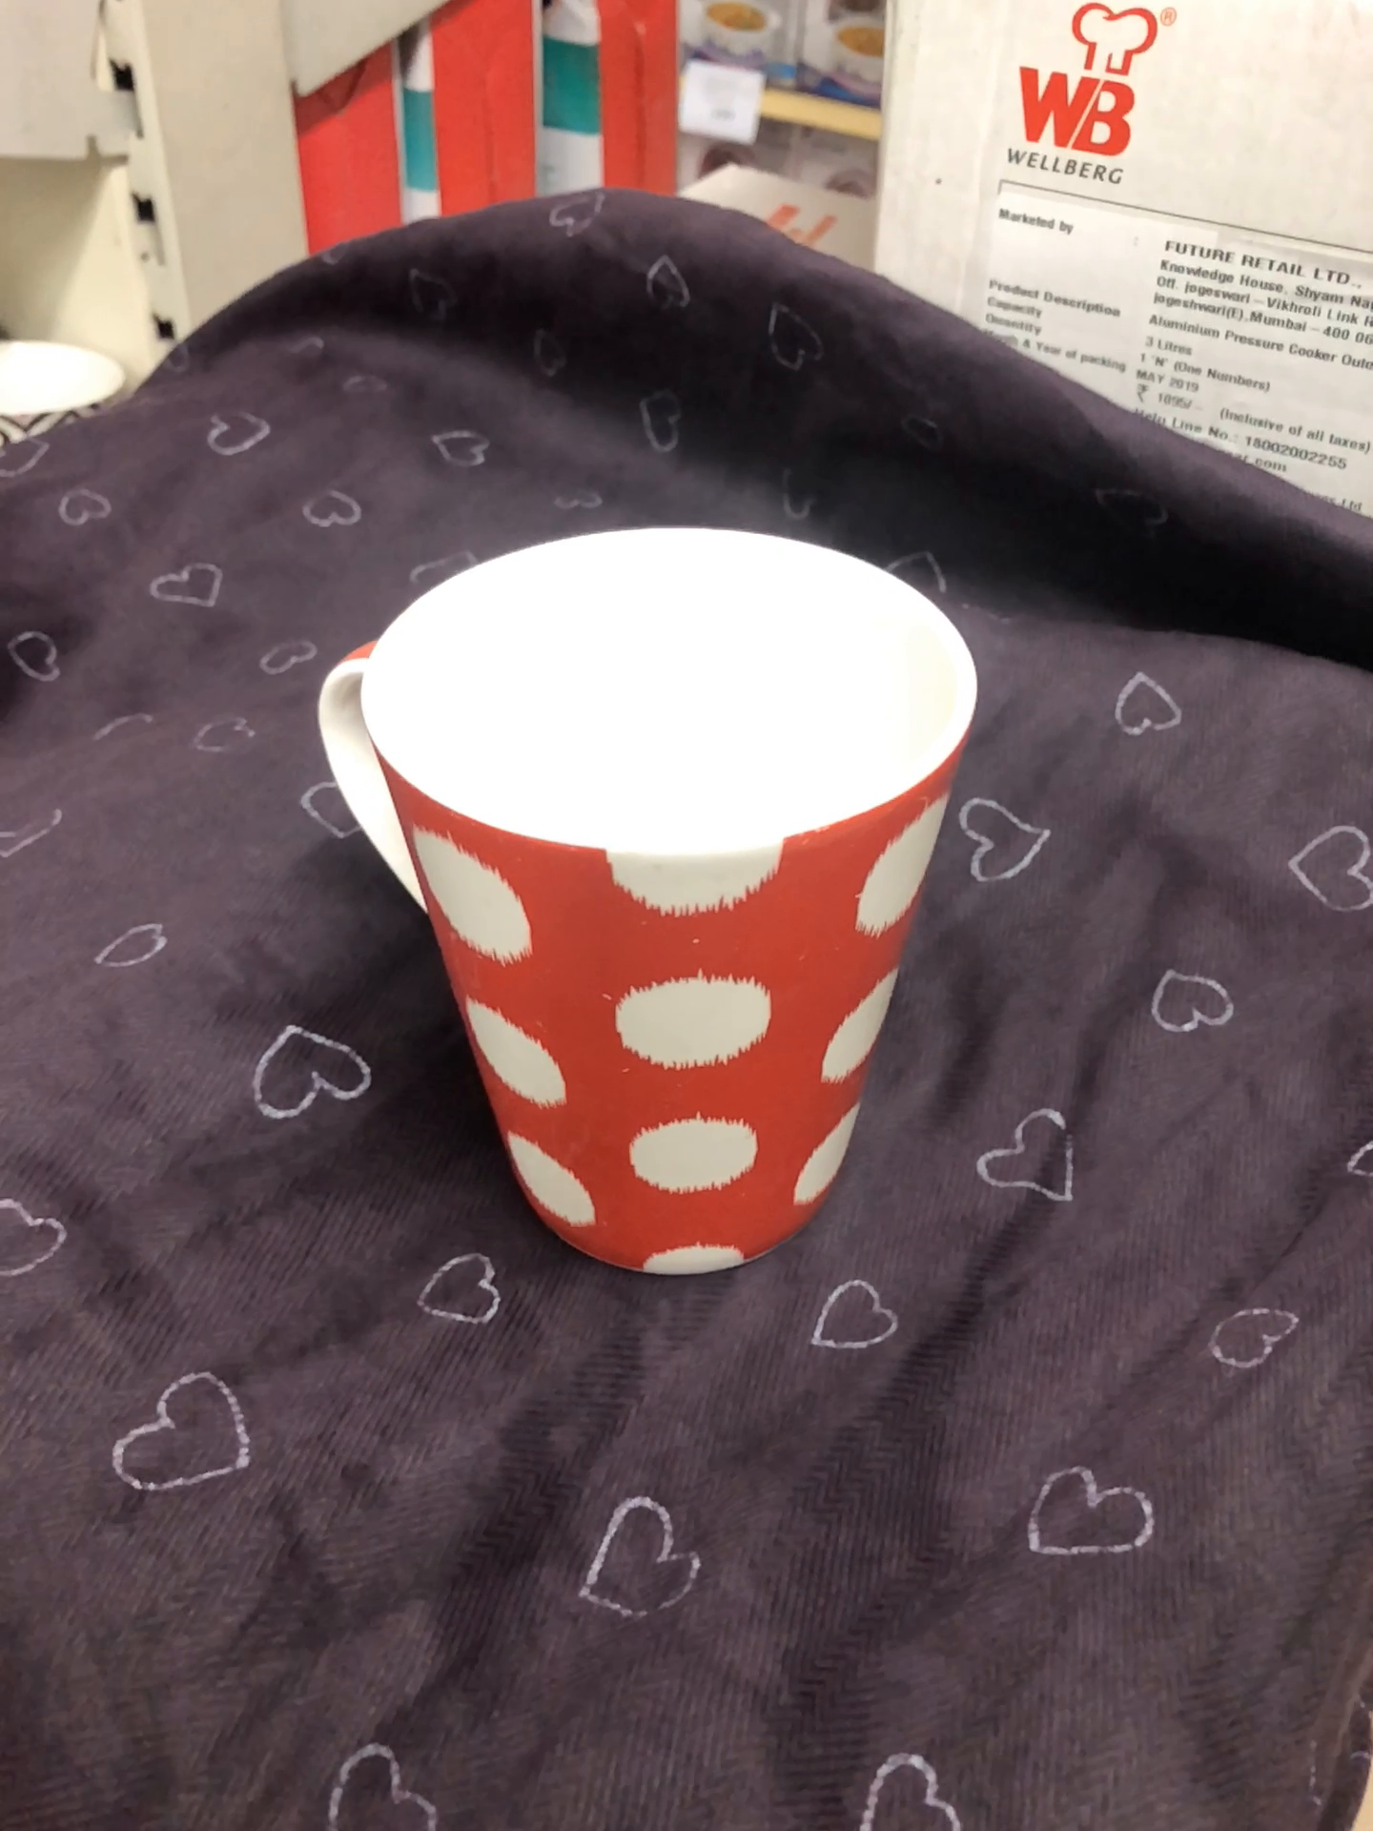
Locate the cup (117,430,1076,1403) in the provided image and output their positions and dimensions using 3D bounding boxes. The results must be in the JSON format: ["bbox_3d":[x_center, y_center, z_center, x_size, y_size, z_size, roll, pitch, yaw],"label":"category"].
[{"bbox_3d":[-0.011,-0.005,0.256,0.110,0.099,0.090,20,44,17],"label":"cup"}]
